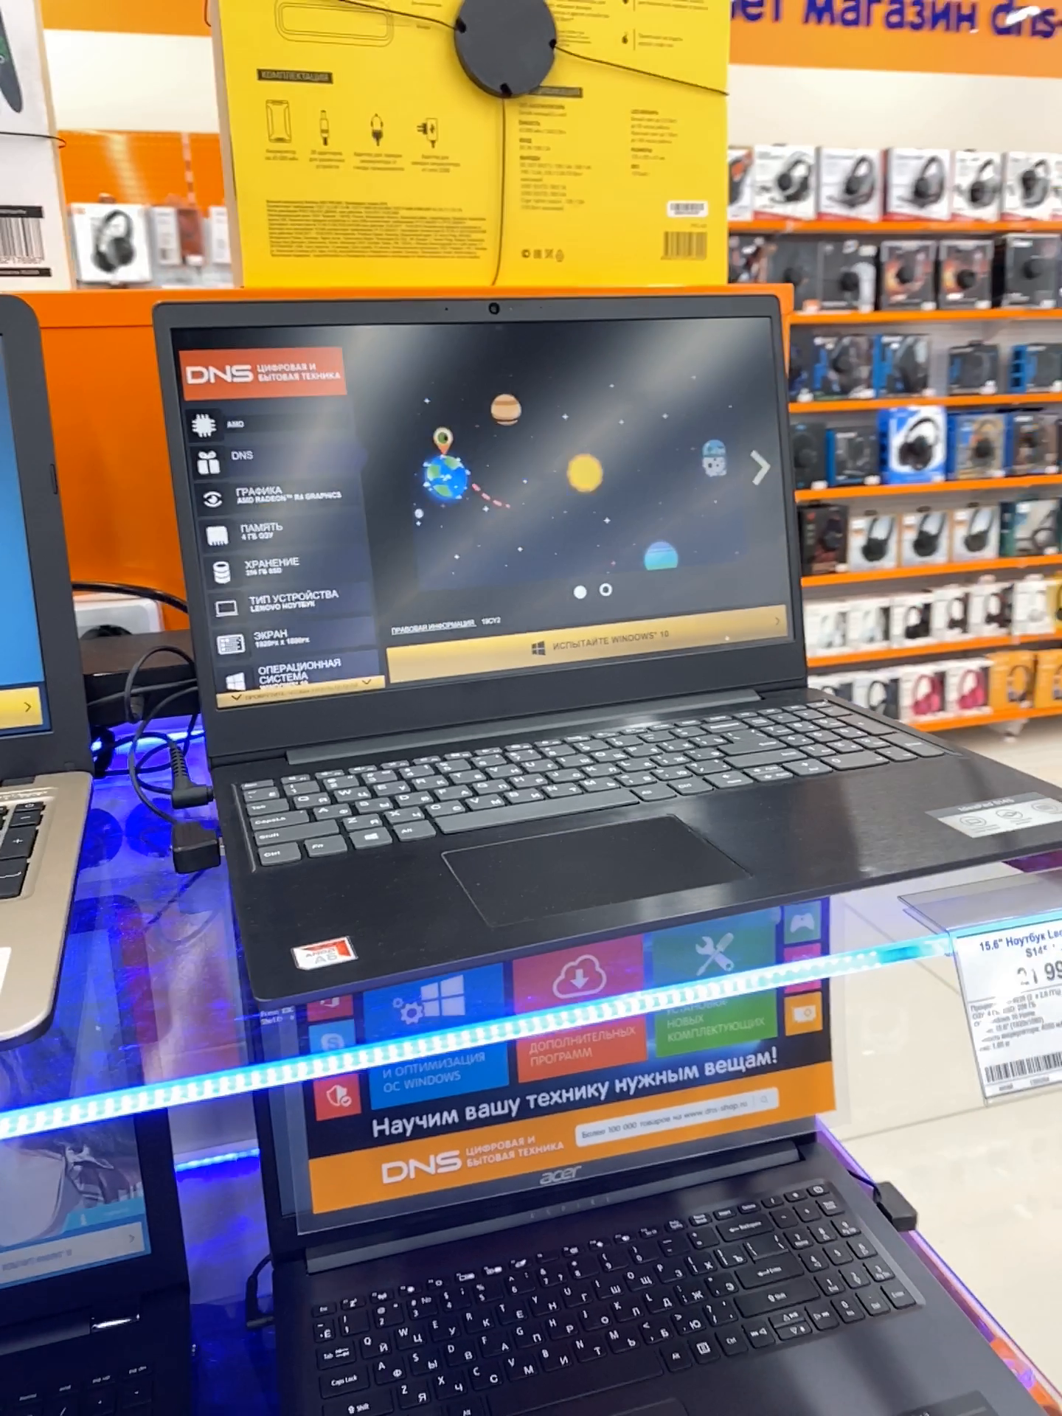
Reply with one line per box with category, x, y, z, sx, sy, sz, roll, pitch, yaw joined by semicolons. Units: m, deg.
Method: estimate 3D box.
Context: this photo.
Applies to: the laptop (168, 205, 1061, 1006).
laptop;0.034;-0.078;0.503;0.358;0.233;0.298;-7;16;-17
